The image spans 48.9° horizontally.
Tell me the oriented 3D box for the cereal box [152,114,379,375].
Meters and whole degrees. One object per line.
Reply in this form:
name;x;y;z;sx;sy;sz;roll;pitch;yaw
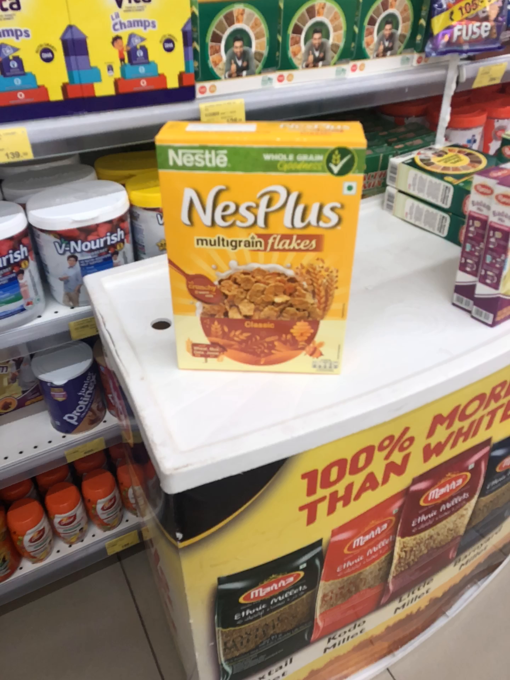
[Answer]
cereal box;0.011;-0.092;0.602;0.200;0.269;0.070;1;36;2
